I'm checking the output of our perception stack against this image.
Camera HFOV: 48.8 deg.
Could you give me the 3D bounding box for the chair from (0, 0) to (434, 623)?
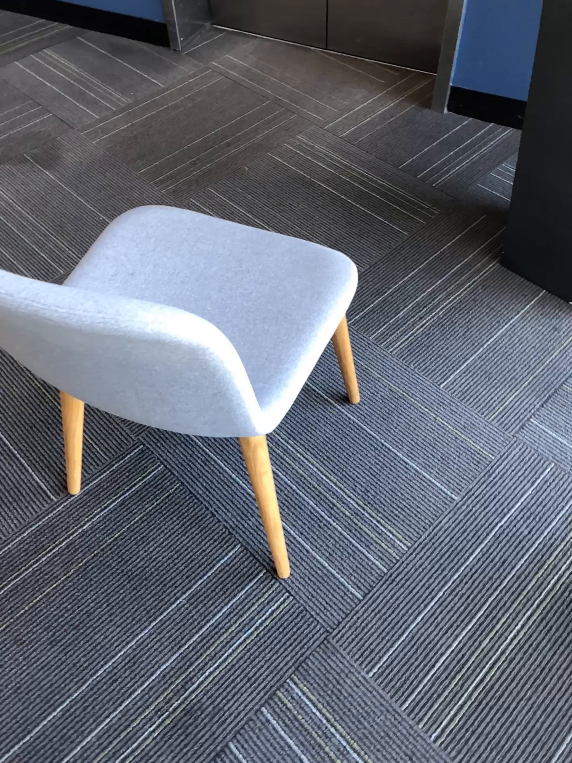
[{"bbox_3d":[-0.177,-0.116,1.052,0.561,0.847,0.611,19,59,16],"label":"chair"}]
